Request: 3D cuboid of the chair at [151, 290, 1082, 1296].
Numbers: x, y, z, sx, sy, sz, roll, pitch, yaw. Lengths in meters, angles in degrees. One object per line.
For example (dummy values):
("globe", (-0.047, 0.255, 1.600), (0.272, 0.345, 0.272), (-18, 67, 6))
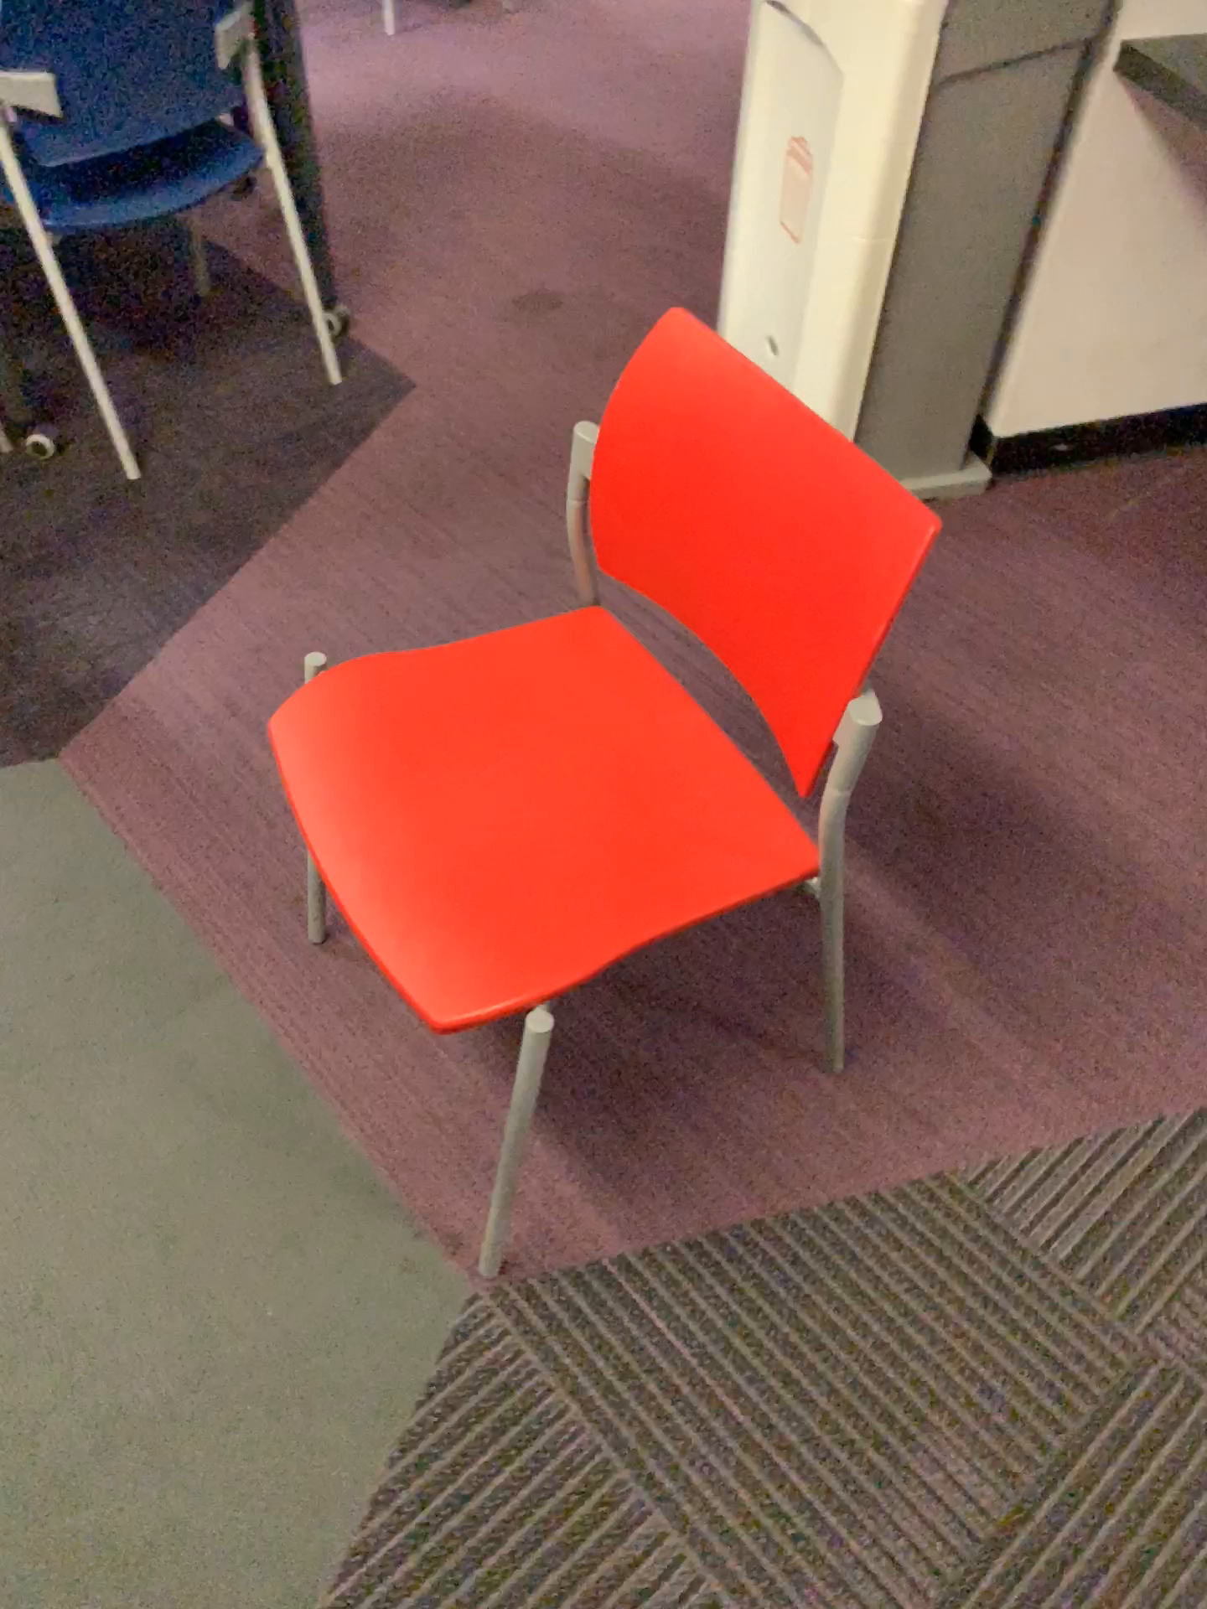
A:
("chair", (-0.021, -0.014, 1.233), (0.561, 0.684, 0.544), (-20, 50, -18))
